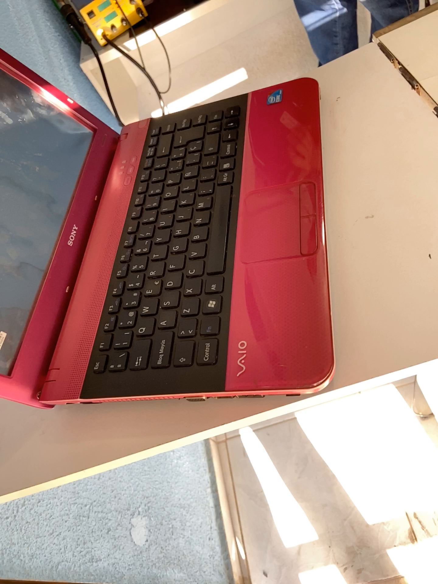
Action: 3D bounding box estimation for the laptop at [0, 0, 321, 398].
[{"bbox_3d":[-0.114,-0.112,0.365,0.339,0.188,0.332,-7,56,20],"label":"laptop"}]
